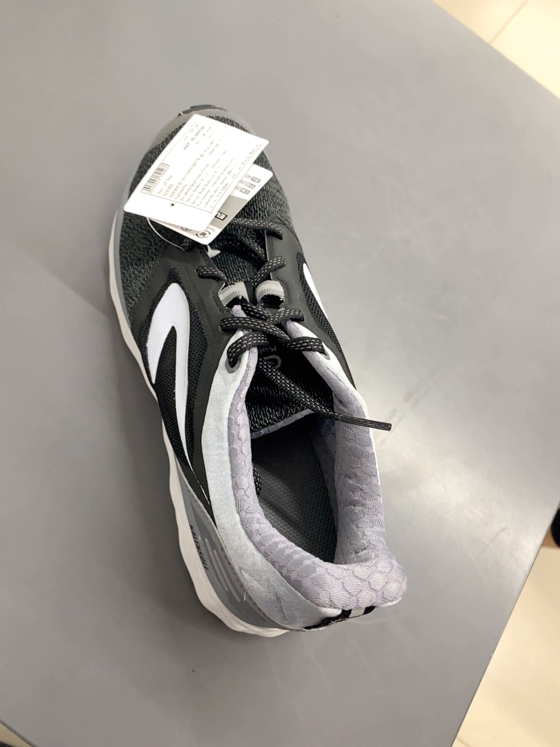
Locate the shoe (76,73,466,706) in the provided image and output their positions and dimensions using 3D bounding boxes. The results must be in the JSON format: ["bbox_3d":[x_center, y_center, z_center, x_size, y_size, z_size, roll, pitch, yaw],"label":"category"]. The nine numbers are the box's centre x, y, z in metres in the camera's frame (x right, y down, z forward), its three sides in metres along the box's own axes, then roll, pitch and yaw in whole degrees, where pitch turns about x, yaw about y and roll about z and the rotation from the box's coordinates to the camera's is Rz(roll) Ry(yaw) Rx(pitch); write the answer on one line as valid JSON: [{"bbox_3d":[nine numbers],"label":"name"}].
[{"bbox_3d":[-0.019,-0.004,0.266,0.100,0.090,0.240,-10,75,-18],"label":"shoe"}]
